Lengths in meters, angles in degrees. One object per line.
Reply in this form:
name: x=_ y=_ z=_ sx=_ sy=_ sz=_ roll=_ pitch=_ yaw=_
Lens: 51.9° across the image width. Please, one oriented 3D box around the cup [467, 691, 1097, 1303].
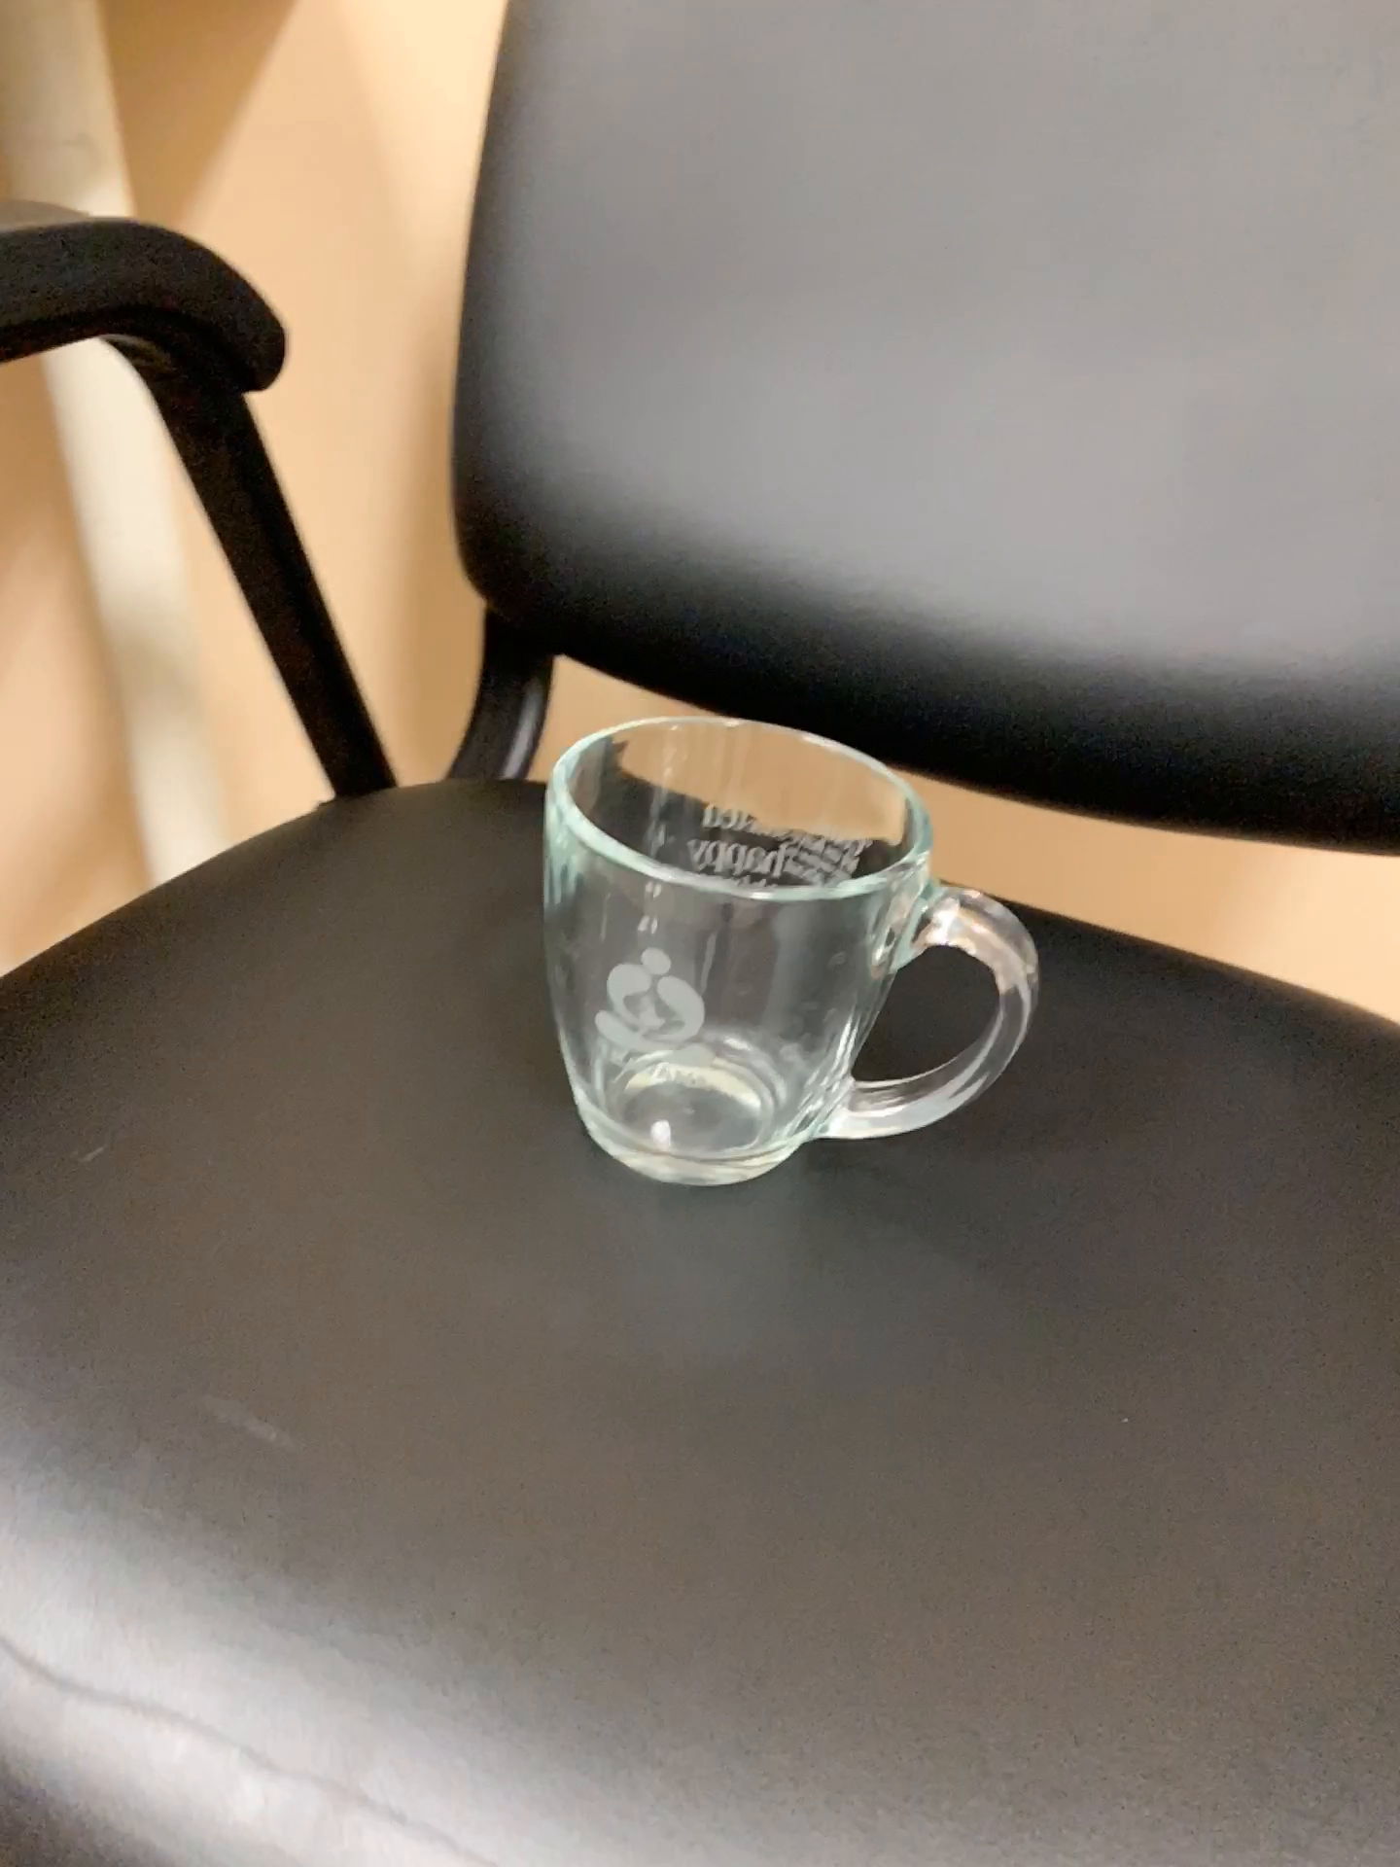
cup: x=0.023 y=0.011 z=0.389 sx=0.139 sy=0.100 sz=0.096 roll=14 pitch=30 yaw=9
